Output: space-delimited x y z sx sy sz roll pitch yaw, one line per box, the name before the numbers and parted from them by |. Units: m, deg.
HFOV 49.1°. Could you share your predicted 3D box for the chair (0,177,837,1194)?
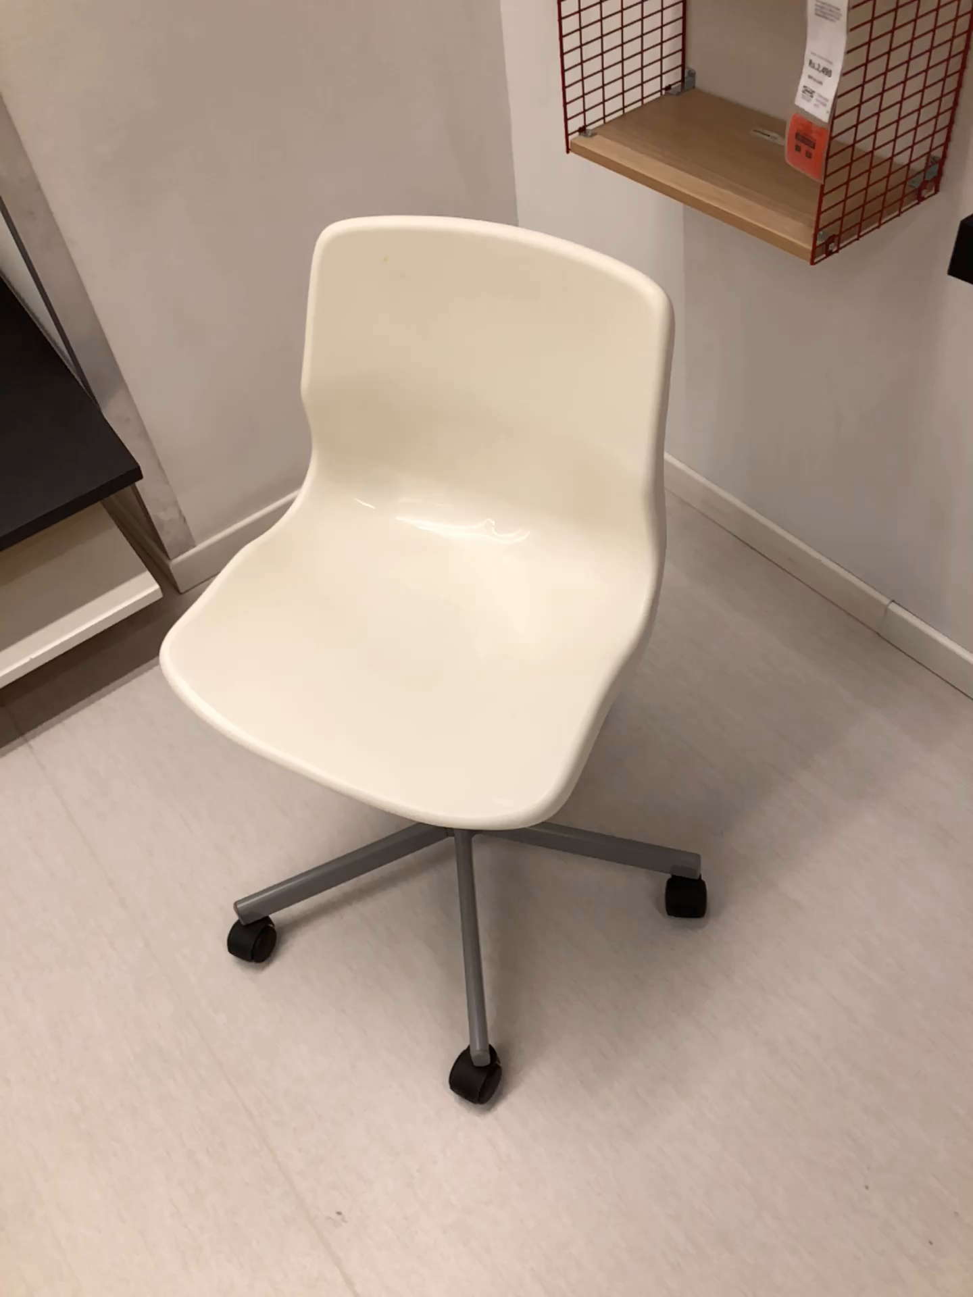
chair | -0.083 0.027 1.121 0.621 0.686 0.622 19 55 22
